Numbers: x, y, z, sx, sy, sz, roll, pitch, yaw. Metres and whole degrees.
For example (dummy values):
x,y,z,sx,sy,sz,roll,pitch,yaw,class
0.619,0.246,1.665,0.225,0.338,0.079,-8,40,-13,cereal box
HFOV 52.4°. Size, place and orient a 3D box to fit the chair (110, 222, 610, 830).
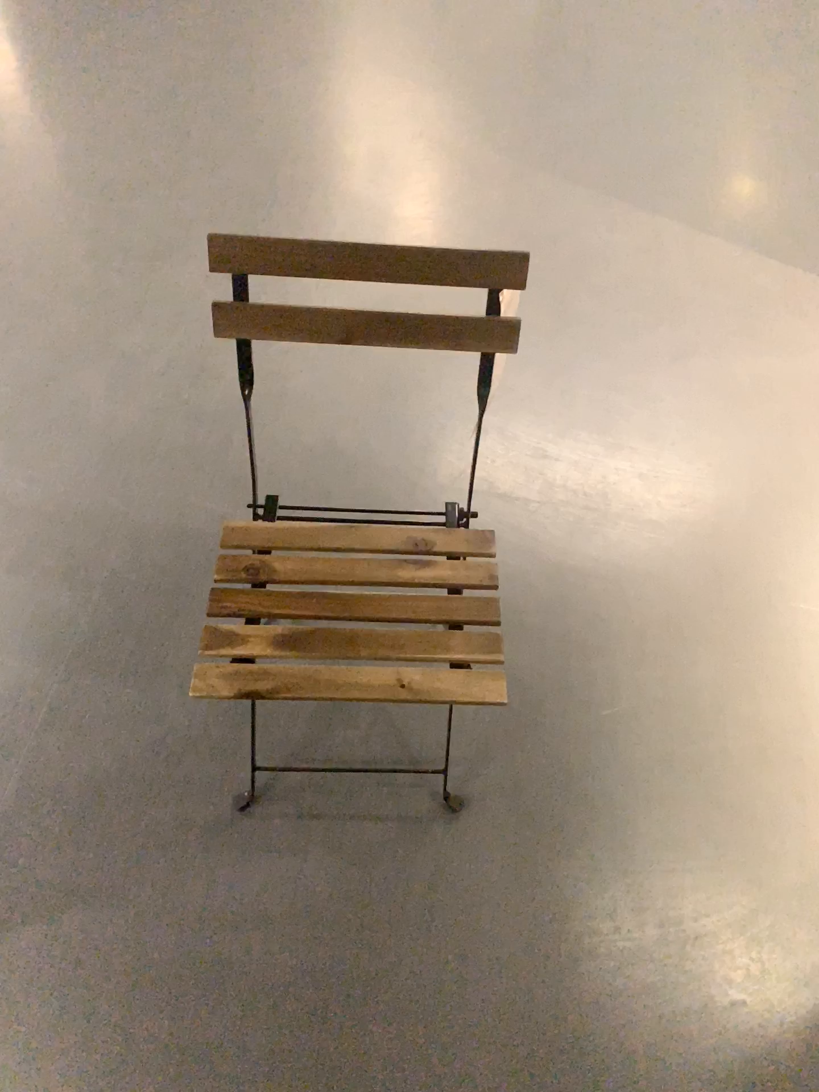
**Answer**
x,y,z,sx,sy,sz,roll,pitch,yaw,class
-0.063,0.025,1.147,0.430,0.698,0.501,2,54,-3,chair
